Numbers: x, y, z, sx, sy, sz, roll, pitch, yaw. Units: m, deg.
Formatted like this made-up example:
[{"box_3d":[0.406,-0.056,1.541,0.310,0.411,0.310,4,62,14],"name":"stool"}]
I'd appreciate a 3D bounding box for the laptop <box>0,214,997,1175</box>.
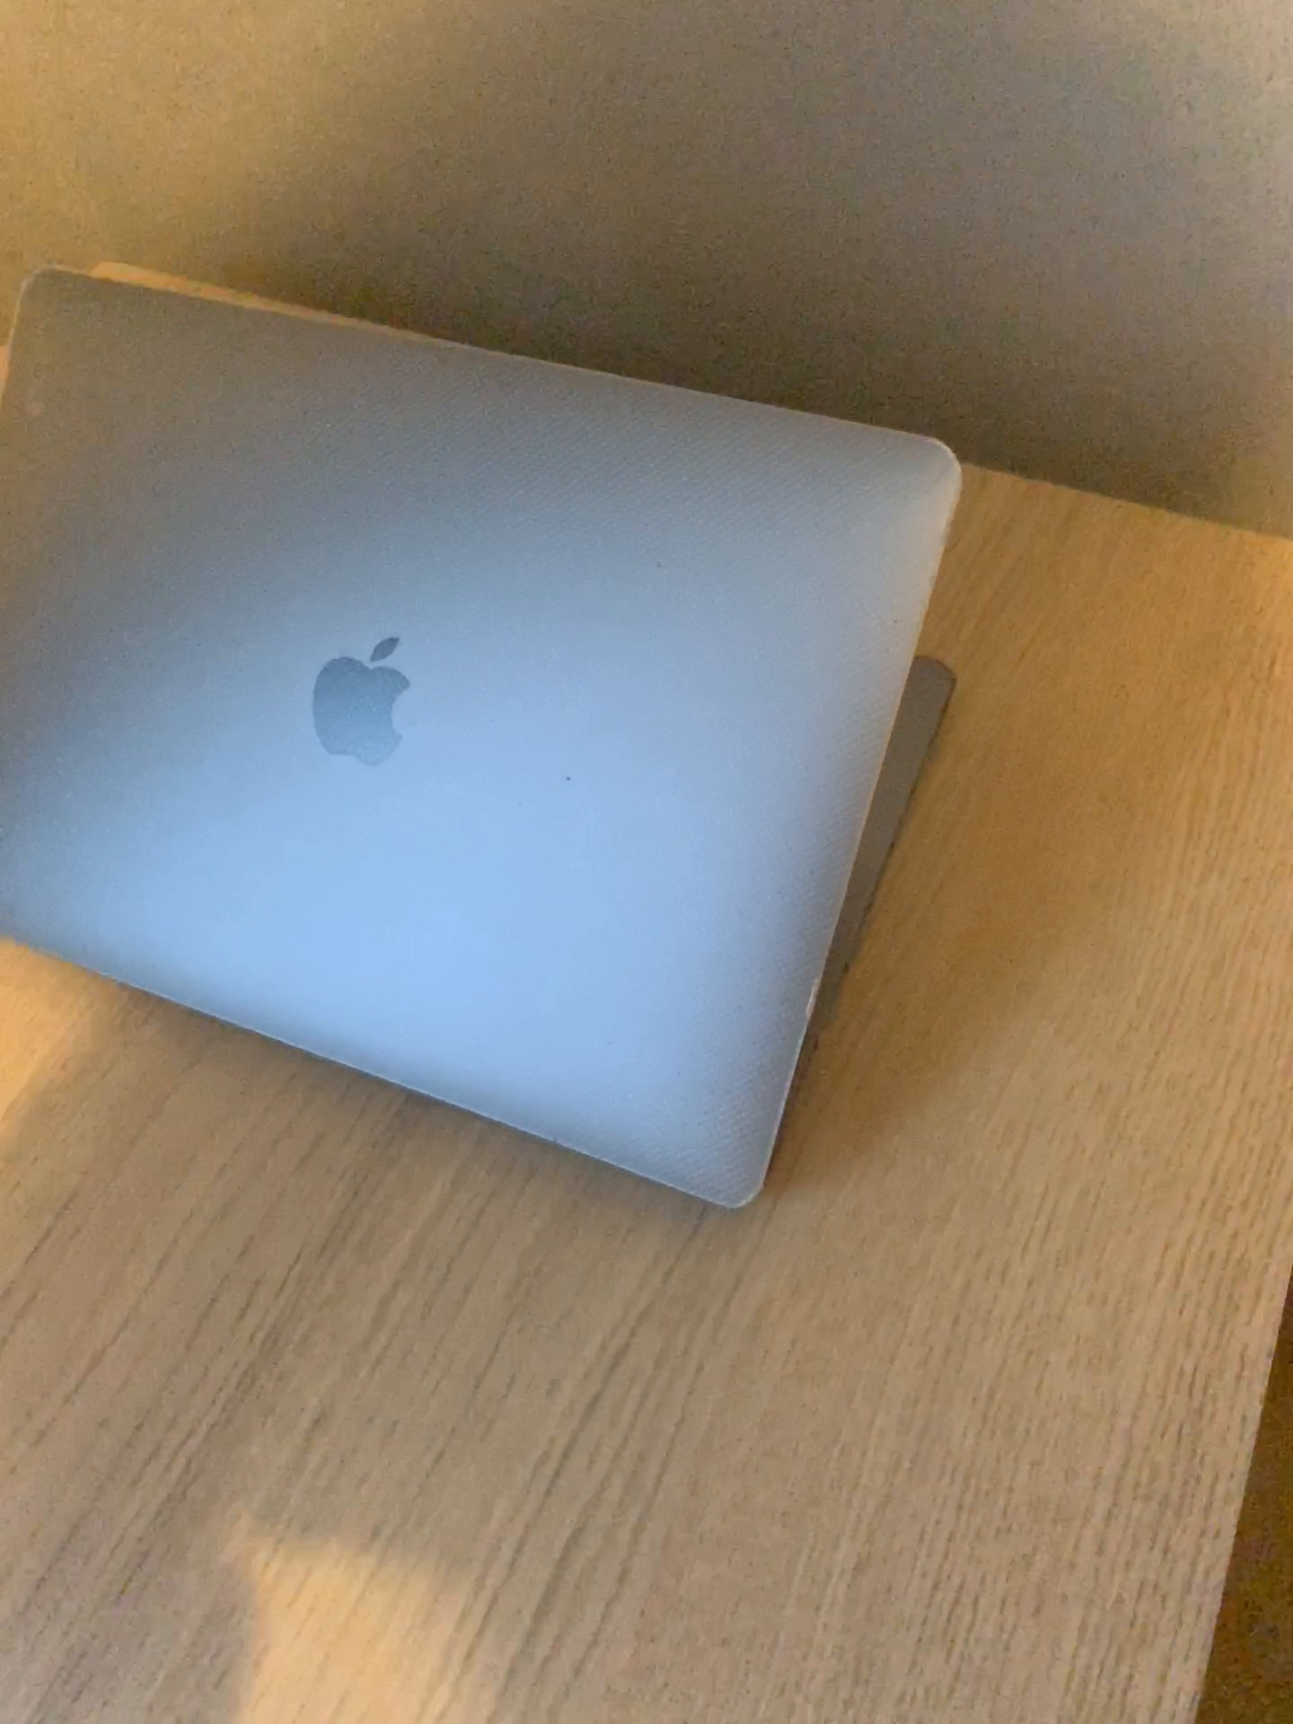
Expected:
[{"box_3d":[-0.075,-0.070,0.417,0.309,0.127,0.207,16,56,16],"name":"laptop"}]
